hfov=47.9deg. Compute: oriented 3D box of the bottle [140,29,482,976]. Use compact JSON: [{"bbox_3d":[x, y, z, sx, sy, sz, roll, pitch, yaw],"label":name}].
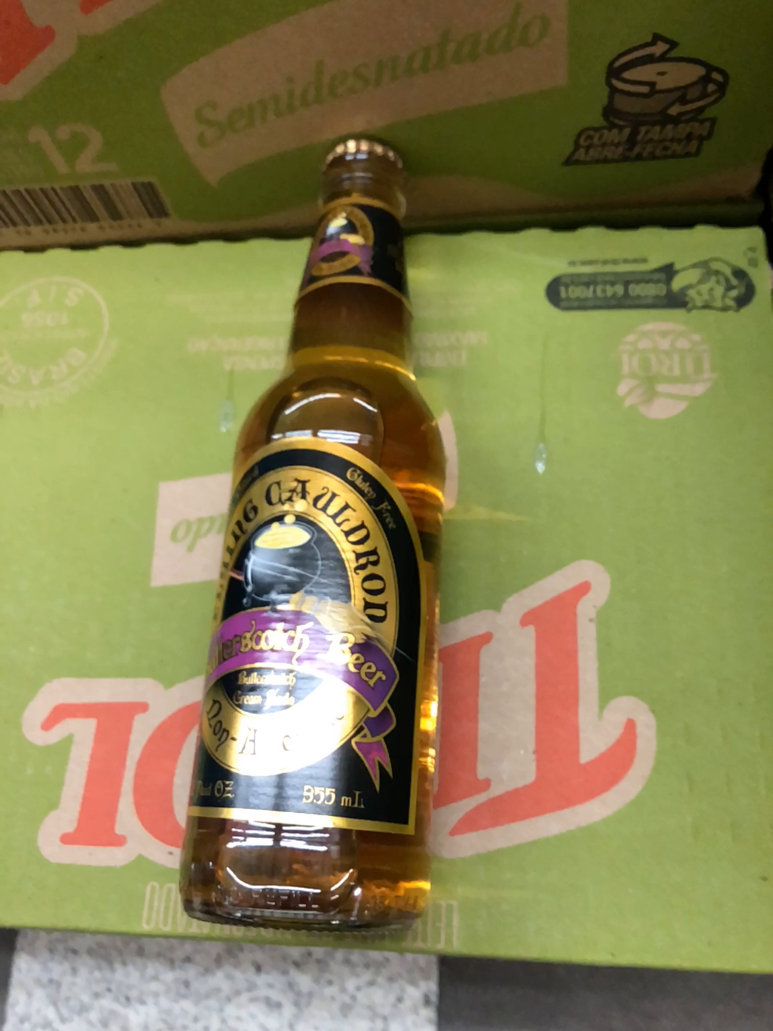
[{"bbox_3d":[-0.009,-0.020,0.249,0.070,0.050,0.261,0,69,6],"label":"bottle"}]
